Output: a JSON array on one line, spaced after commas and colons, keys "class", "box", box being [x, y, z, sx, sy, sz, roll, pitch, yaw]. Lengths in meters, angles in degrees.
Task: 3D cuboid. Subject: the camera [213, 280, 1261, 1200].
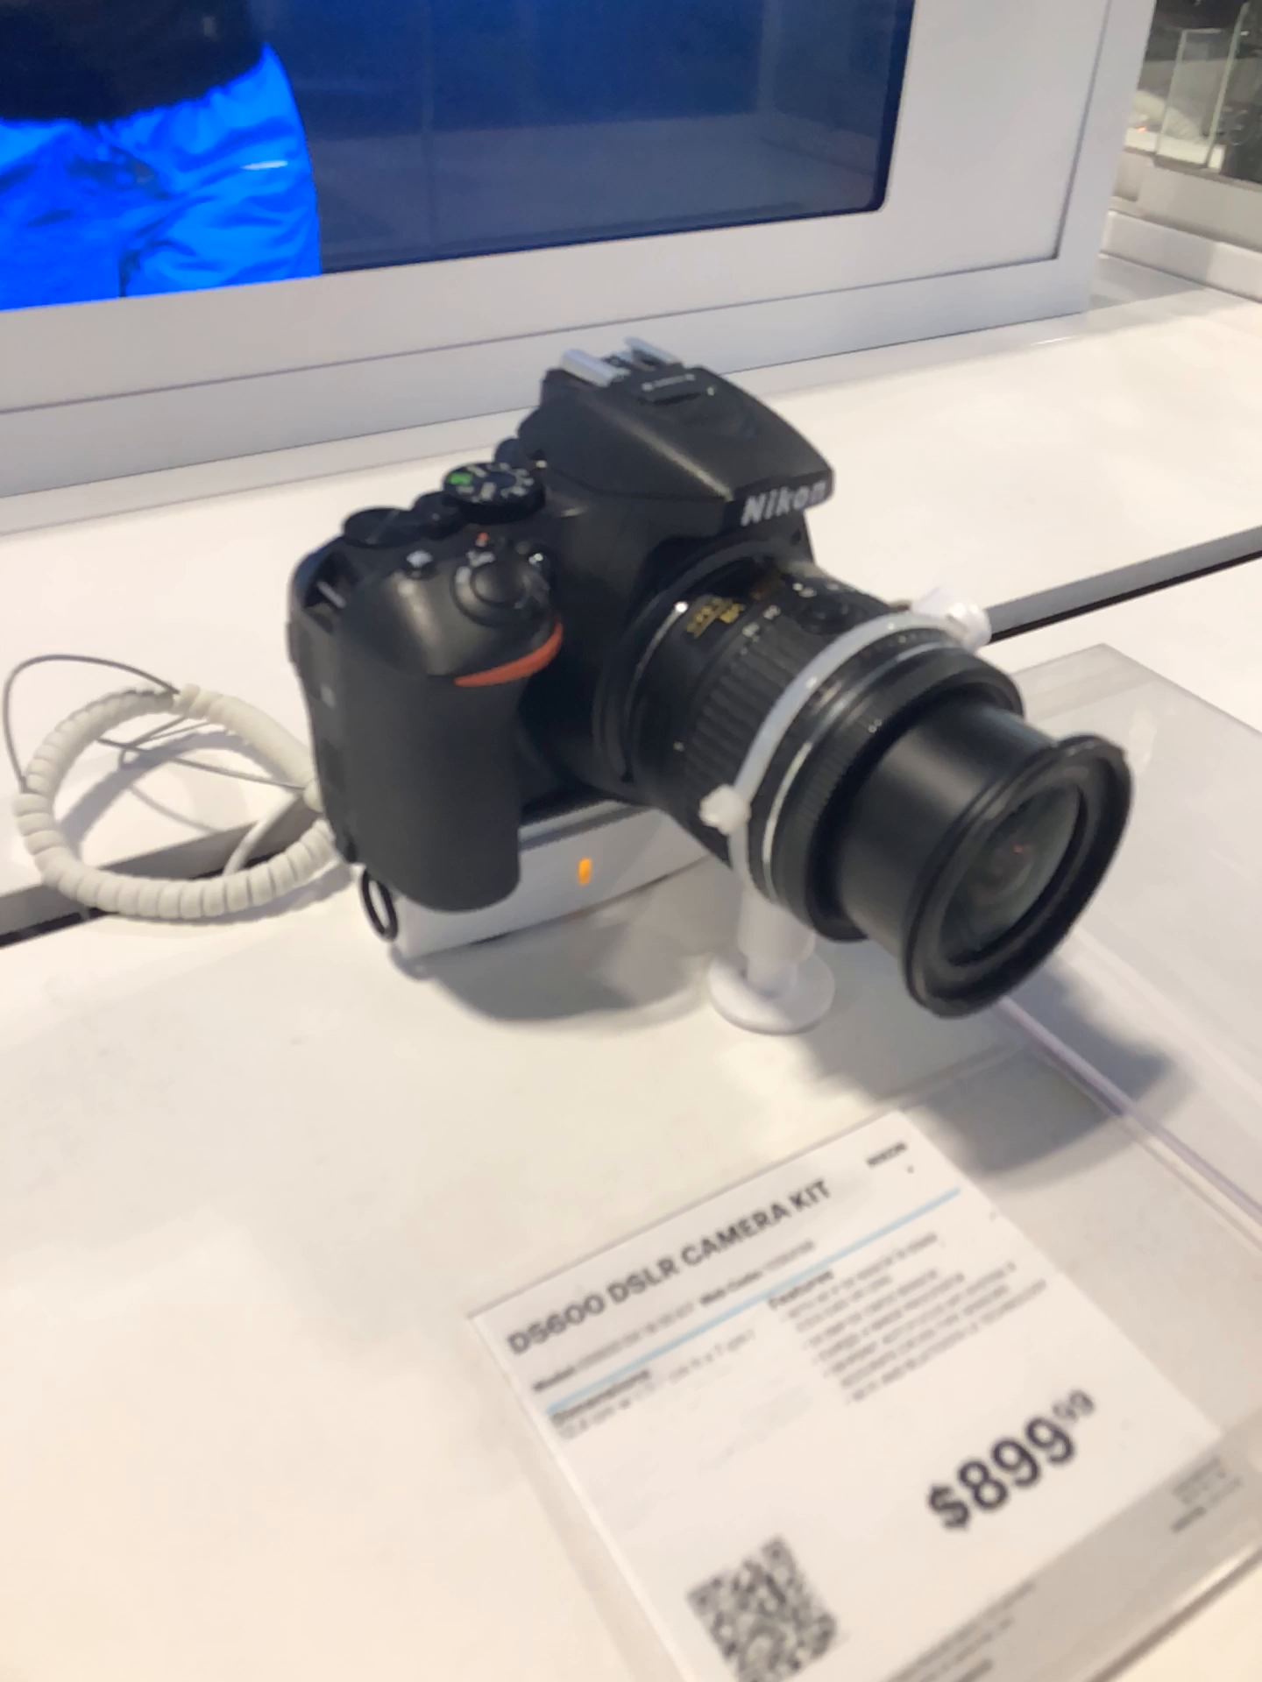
[{"class": "camera", "box": [0.017, -0.038, 0.276, 0.130, 0.089, 0.151, -24, 43, -30]}]
